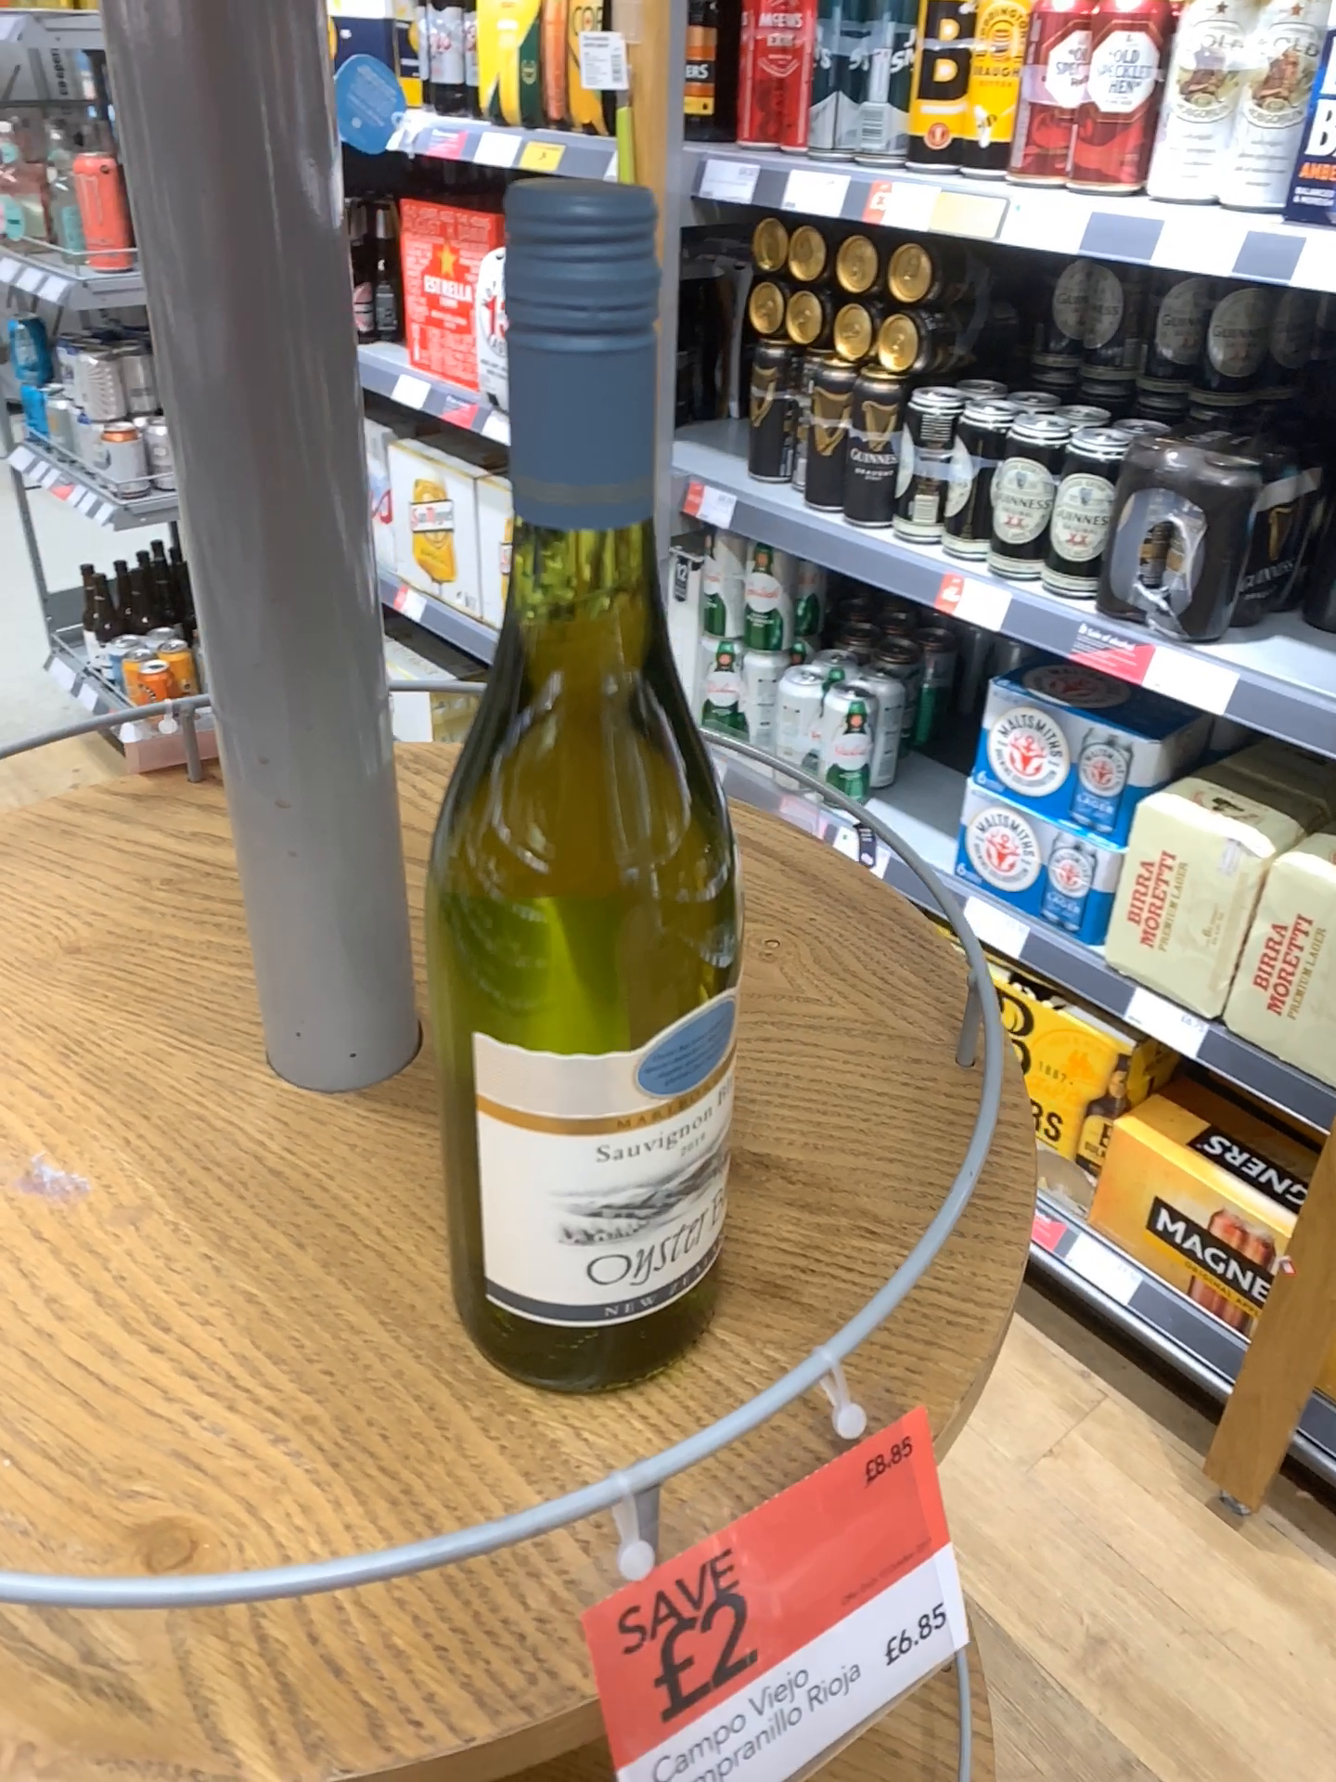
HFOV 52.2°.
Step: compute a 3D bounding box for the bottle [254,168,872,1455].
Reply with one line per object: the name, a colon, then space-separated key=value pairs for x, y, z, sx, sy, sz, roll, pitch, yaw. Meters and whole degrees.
bottle: x=-0.023 y=-0.007 z=0.324 sx=0.080 sy=0.284 sz=0.080 roll=1 pitch=32 yaw=-1
